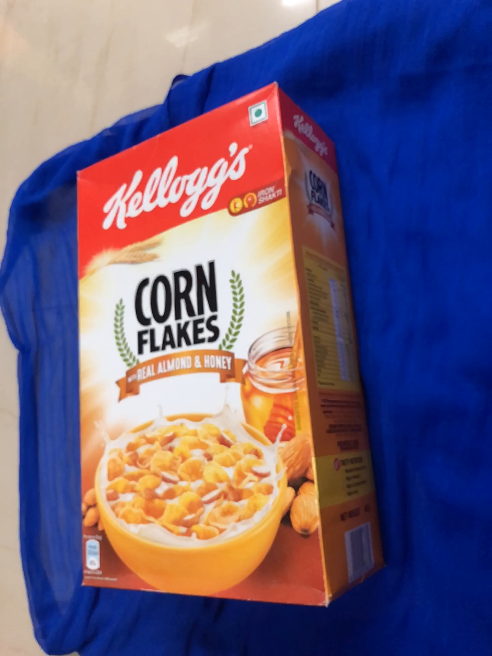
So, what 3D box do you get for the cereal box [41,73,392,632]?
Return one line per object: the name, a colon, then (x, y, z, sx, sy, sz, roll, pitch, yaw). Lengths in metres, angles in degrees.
cereal box: (-0.034, 0.021, 0.382, 0.211, 0.090, 0.300, -11, 77, 30)
